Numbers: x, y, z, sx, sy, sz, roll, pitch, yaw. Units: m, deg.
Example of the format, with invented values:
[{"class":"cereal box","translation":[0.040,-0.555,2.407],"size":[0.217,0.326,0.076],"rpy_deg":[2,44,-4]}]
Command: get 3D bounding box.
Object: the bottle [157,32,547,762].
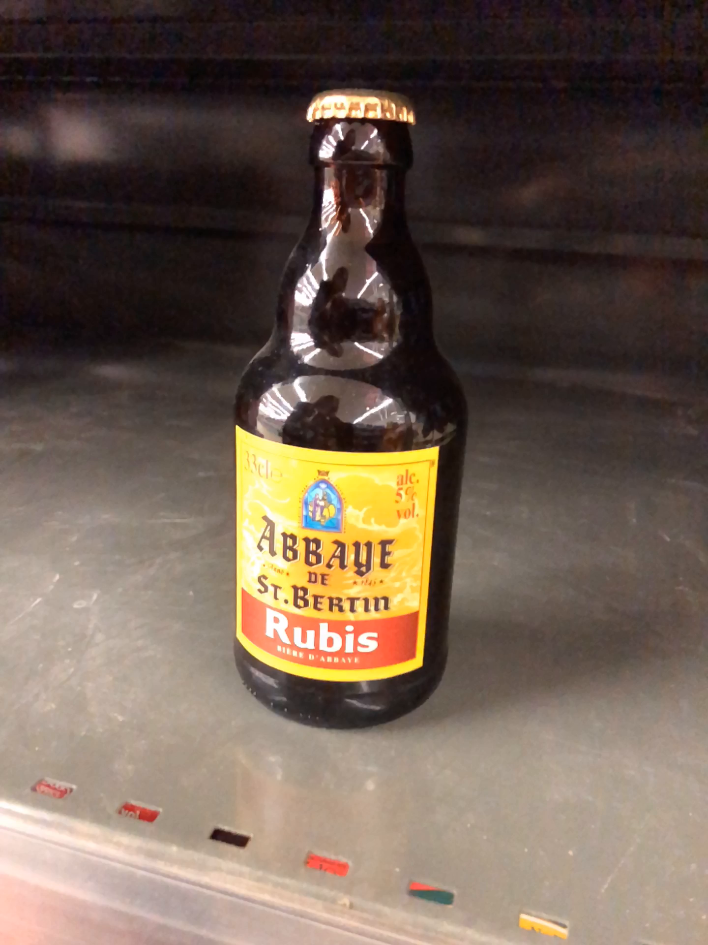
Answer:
[{"class":"bottle","translation":[0.002,-0.021,0.222],"size":[0.080,0.169,0.070],"rpy_deg":[7,18,15]}]
